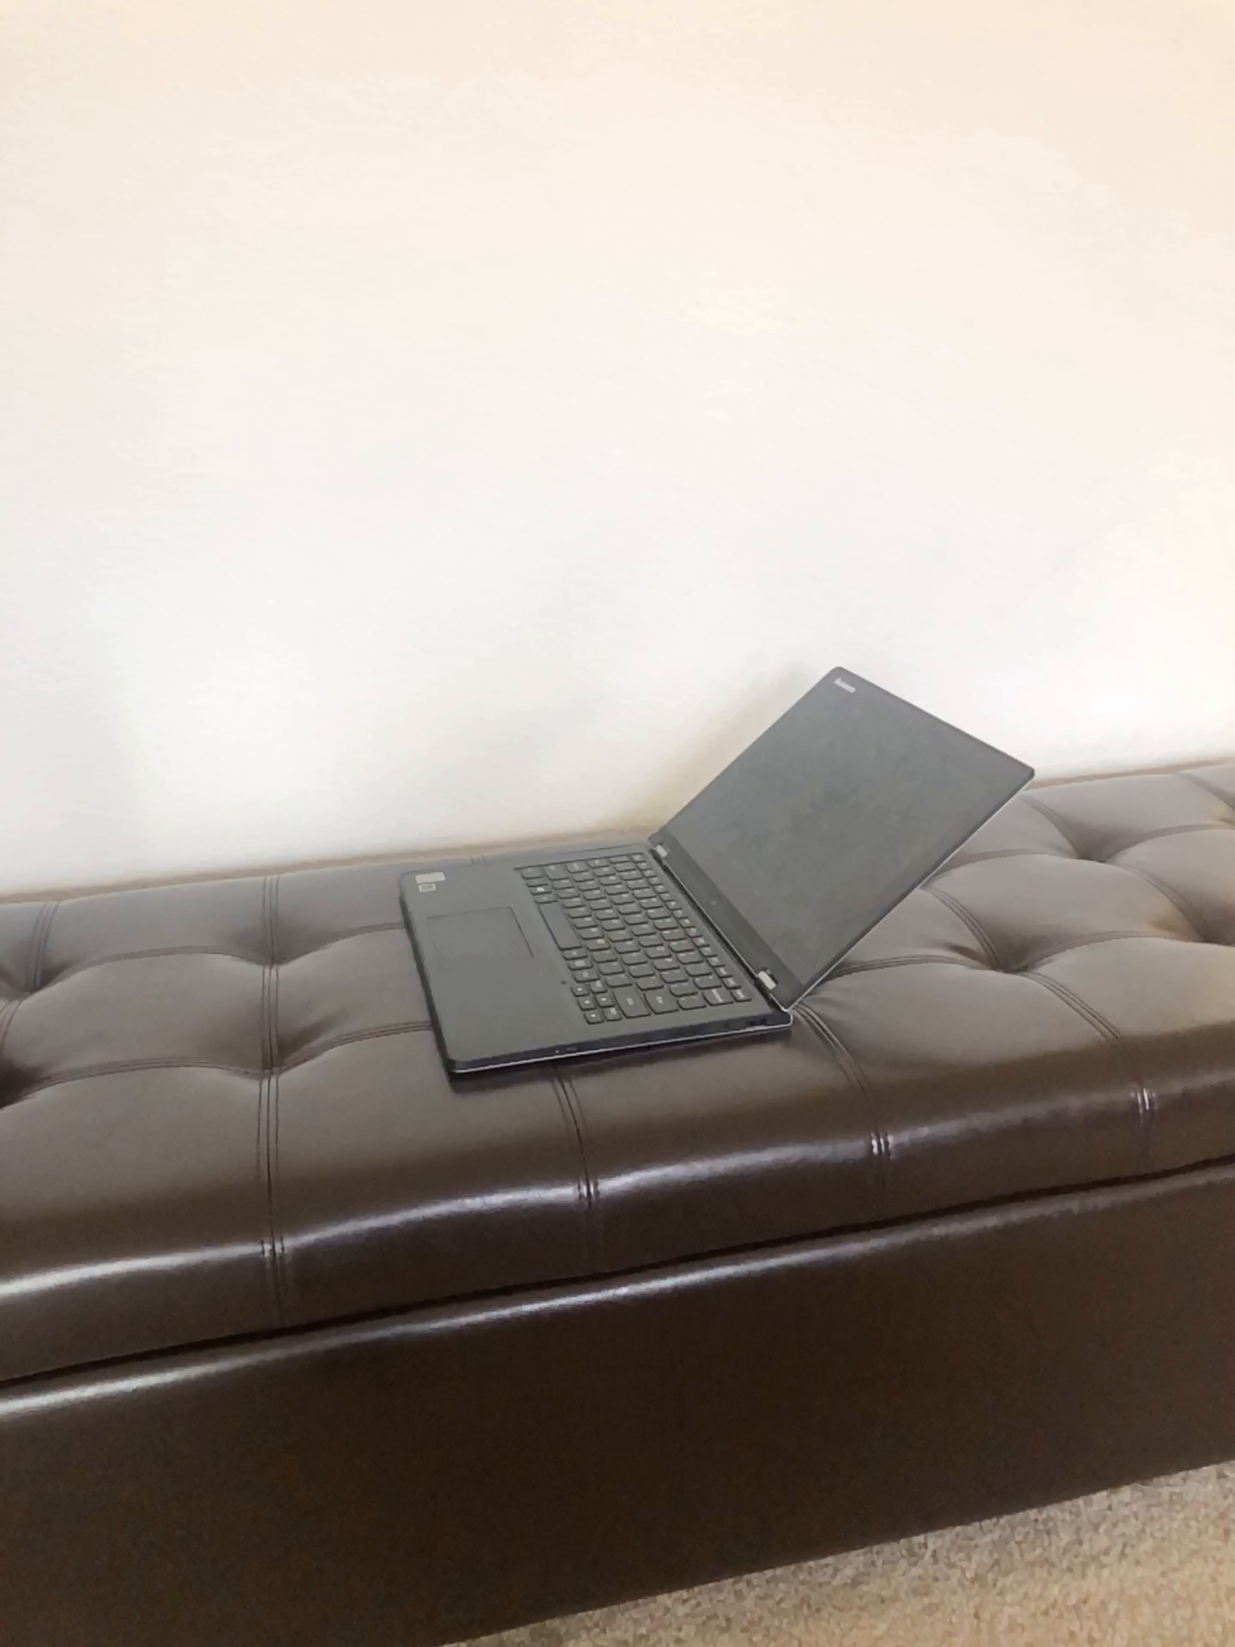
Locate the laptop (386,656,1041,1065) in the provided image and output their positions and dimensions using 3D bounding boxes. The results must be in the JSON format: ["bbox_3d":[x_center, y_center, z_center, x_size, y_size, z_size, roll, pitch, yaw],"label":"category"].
[{"bbox_3d":[0.037,0.002,0.815,0.317,0.115,0.262,-8,20,-13],"label":"laptop"}]
